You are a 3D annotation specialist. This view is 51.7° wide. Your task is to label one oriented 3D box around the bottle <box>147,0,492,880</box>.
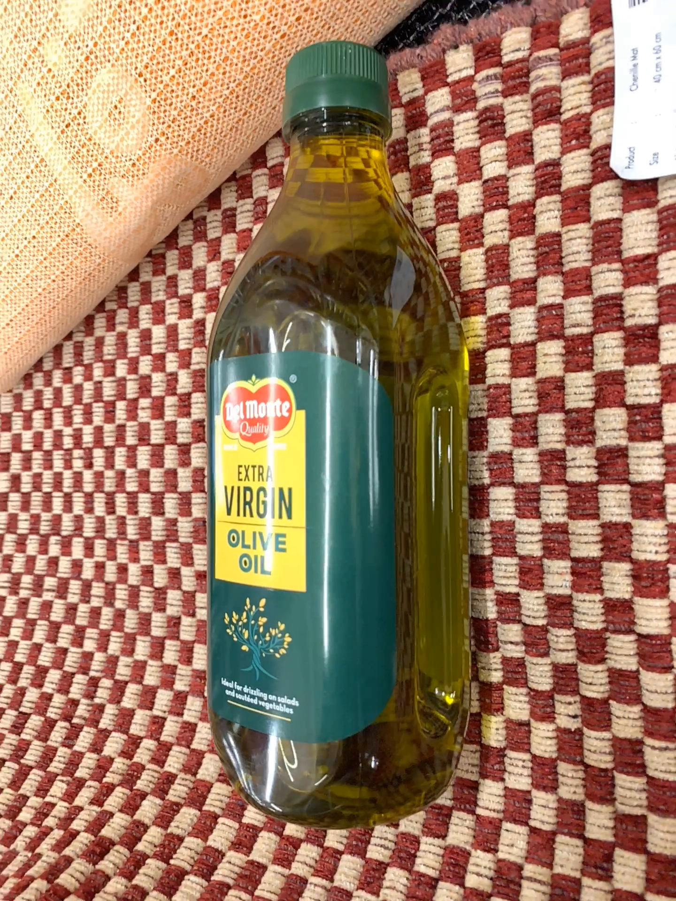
[{"bbox_3d":[-0.003,-0.014,0.235,0.080,0.080,0.250,2,91,28],"label":"bottle"}]
